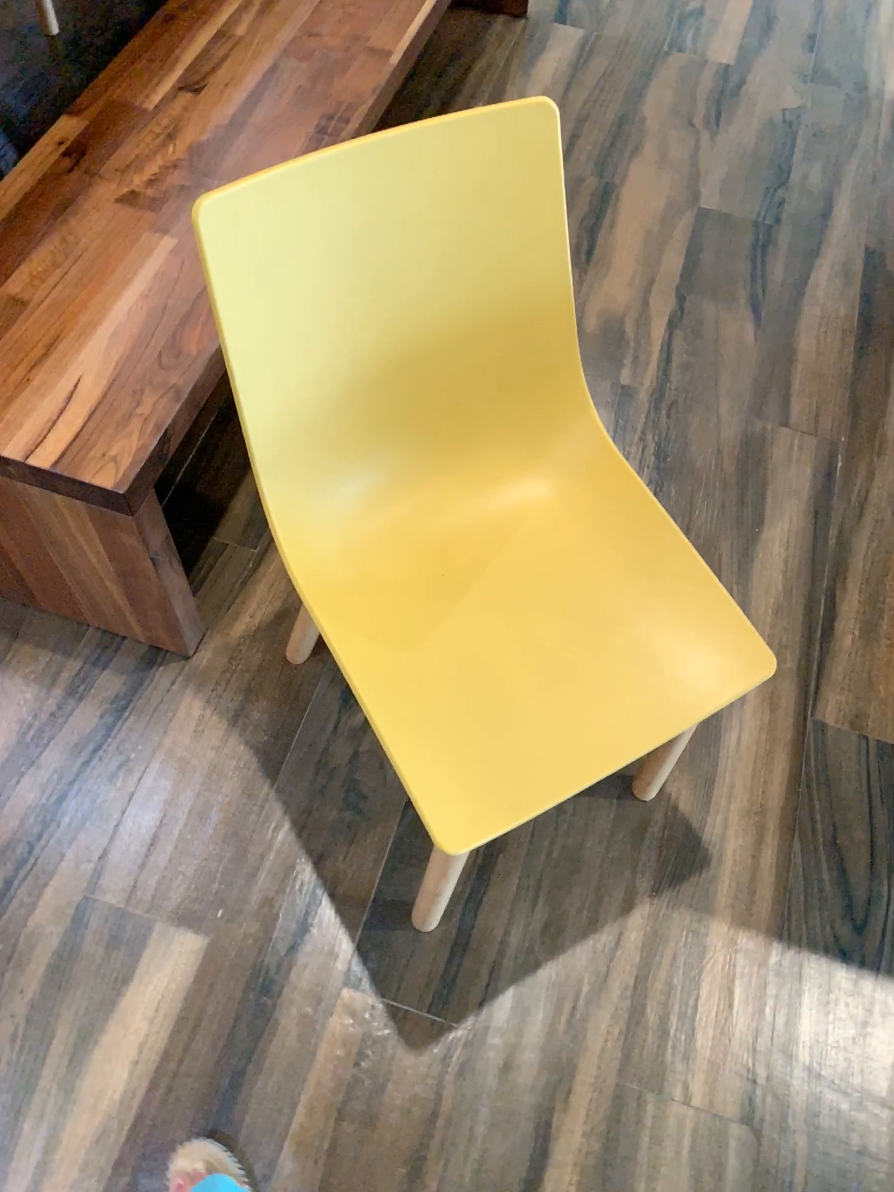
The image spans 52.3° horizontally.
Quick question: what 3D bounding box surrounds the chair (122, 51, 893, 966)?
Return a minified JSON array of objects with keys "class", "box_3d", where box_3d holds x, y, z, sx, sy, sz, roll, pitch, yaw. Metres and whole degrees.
[{"class":"chair","box_3d":[0.058,-0.021,0.946,0.451,0.716,0.502,-26,65,-18]}]
